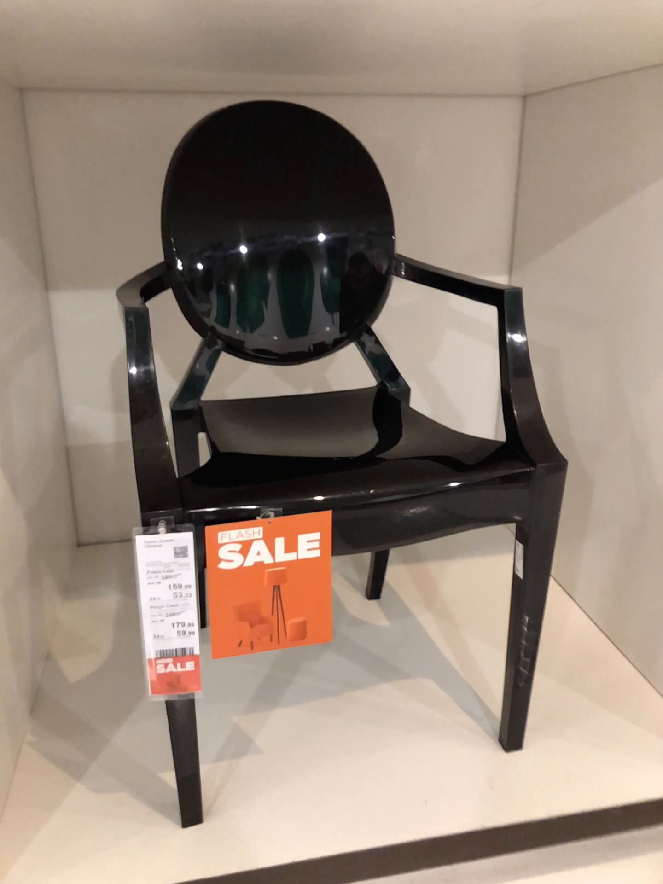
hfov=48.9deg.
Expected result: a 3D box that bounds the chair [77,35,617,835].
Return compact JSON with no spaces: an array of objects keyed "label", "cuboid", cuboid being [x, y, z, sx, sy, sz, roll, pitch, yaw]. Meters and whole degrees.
[{"label":"chair","cuboid":[-0.025,-0.037,1.024,0.511,0.855,0.492,-6,20,-15]}]
